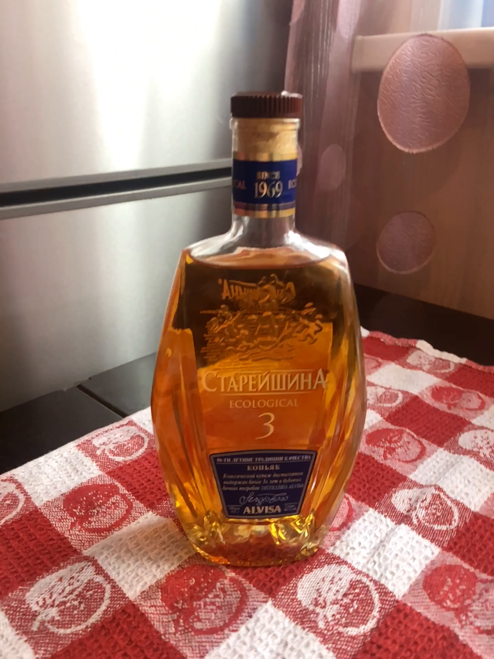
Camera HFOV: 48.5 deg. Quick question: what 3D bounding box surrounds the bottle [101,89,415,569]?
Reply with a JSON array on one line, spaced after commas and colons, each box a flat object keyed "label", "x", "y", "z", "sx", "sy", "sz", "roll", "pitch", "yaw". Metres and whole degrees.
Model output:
[{"label": "bottle", "x": 0.002, "y": 0.008, "z": 0.256, "sx": 0.110, "sy": 0.219, "sz": 0.050, "roll": 0, "pitch": 22, "yaw": -1}]
